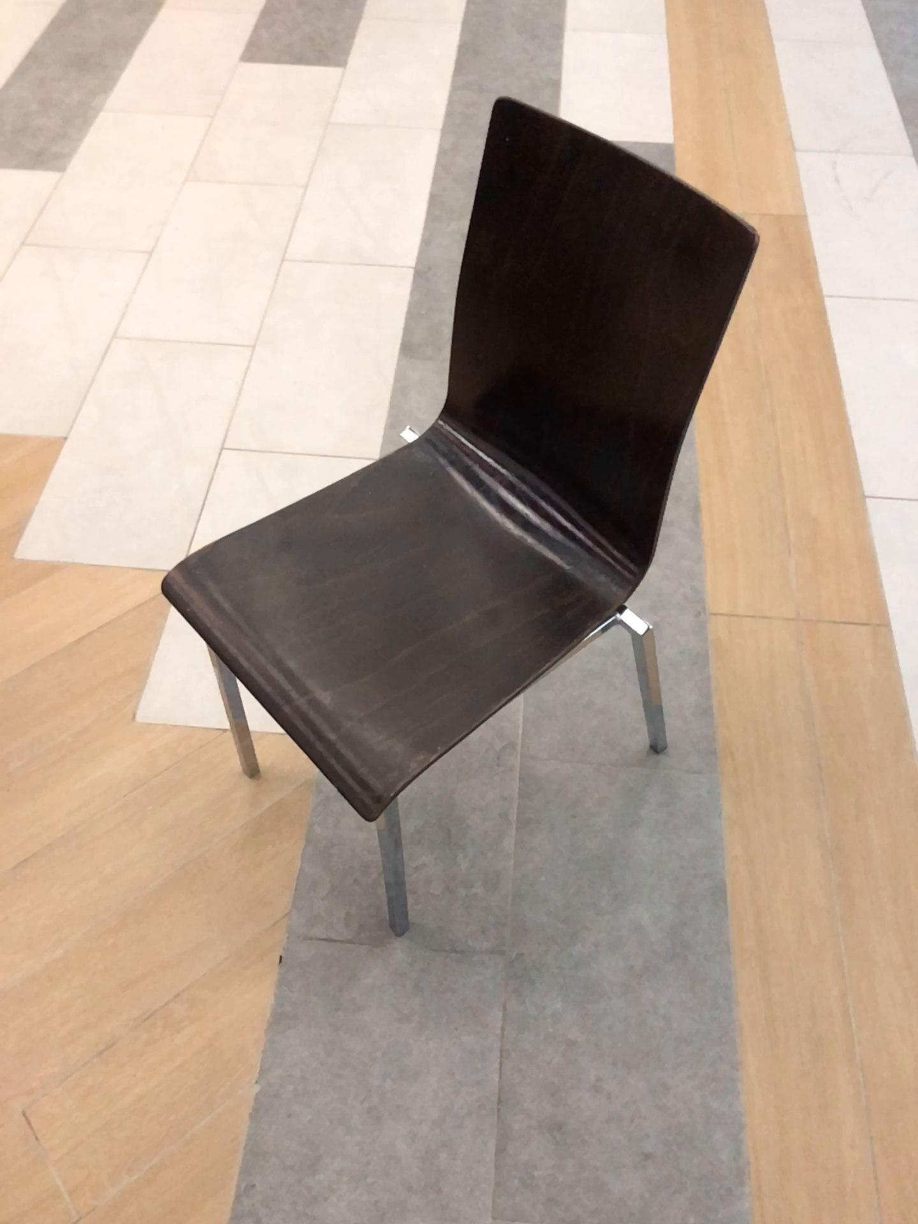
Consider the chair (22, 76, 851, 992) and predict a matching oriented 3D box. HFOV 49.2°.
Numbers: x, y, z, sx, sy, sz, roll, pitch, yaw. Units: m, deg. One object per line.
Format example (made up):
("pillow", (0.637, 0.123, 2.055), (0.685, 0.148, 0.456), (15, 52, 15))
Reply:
("chair", (-0.016, -0.030, 1.179), (0.543, 0.848, 0.434), (-35, 61, -23))
